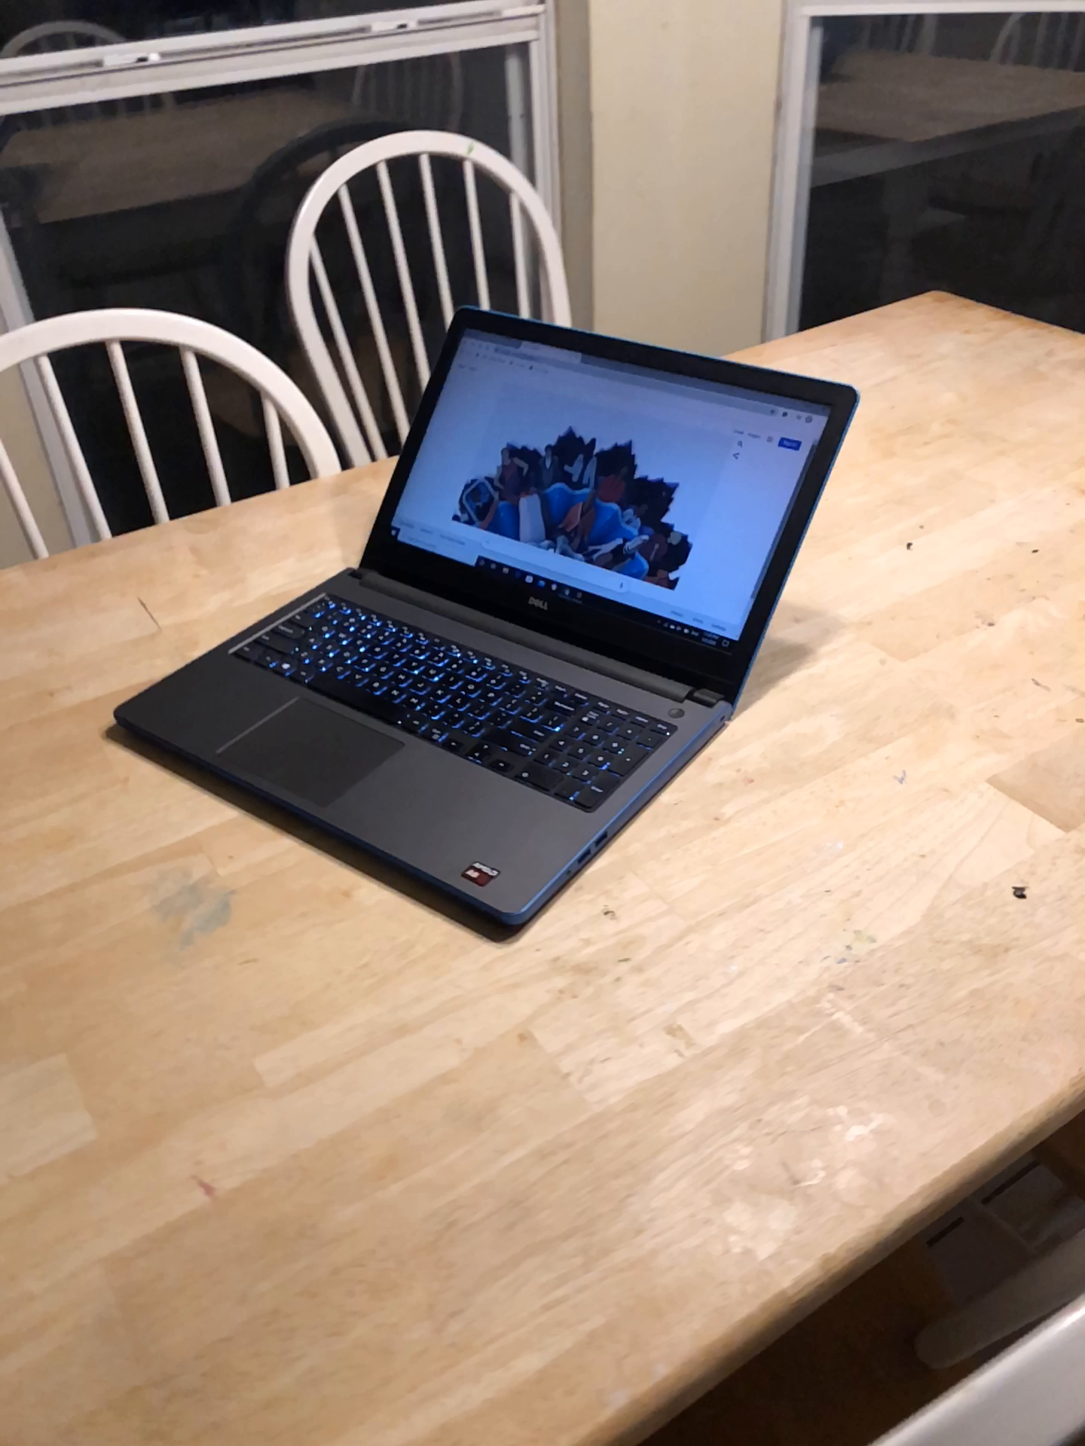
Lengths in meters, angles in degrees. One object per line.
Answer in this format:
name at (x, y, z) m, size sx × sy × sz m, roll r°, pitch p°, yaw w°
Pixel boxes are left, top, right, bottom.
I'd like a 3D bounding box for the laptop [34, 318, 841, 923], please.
laptop at (-0.053, -0.119, 0.857) m, size 0.367 × 0.174 × 0.420 m, roll 22°, pitch 42°, yaw 30°
